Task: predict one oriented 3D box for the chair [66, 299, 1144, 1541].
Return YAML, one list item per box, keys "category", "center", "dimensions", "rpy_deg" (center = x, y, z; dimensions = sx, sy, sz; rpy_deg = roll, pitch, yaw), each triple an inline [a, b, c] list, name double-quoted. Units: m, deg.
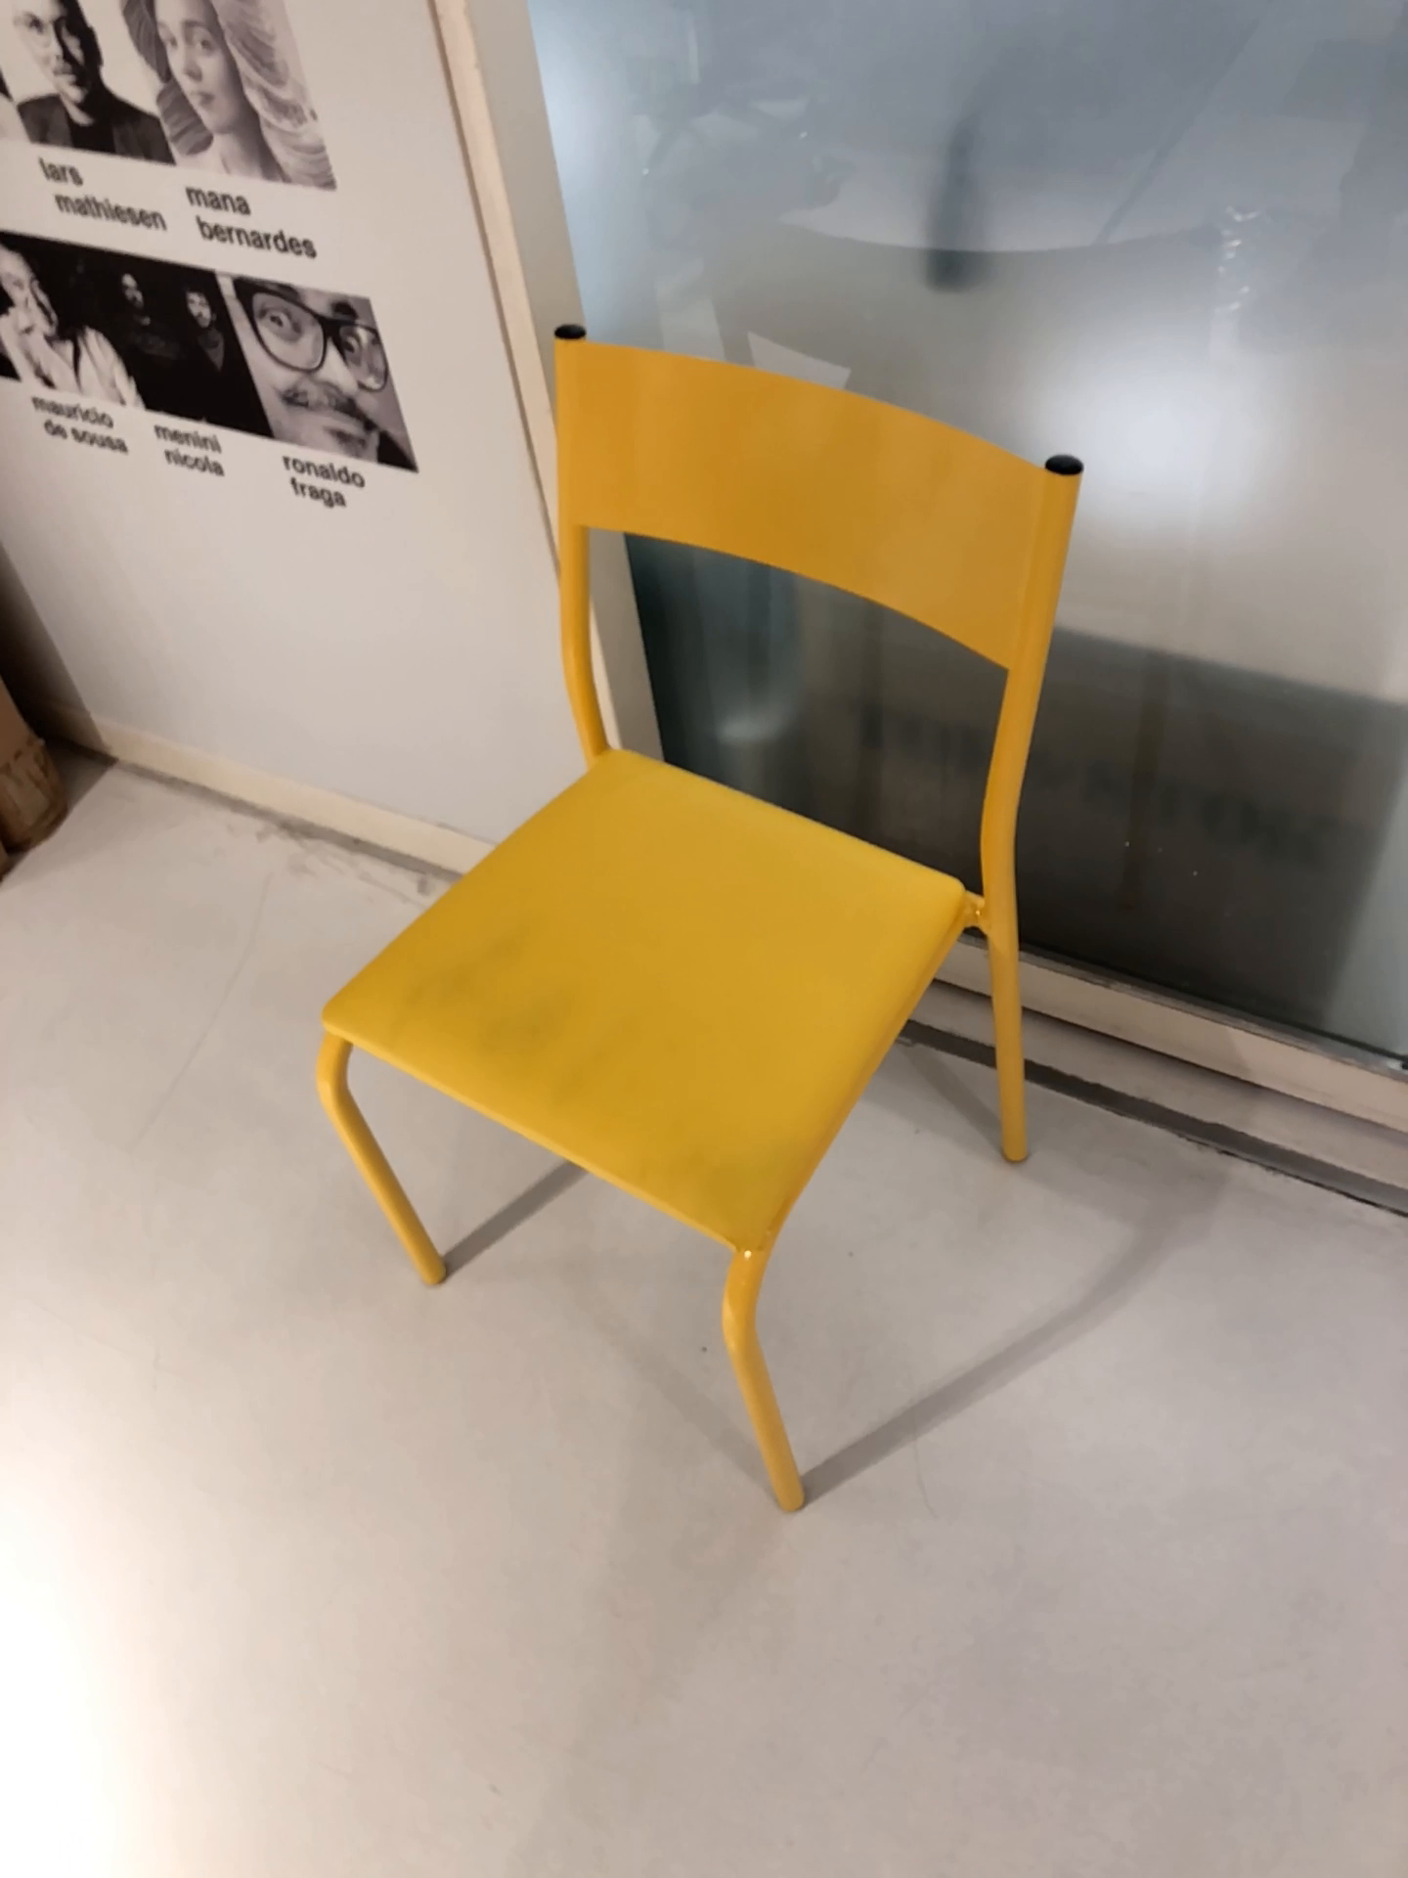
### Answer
- category: "chair"
  center: [-0.012, 0.009, 1.299]
  dimensions: [0.491, 0.785, 0.522]
  rpy_deg: [24, 57, 26]
